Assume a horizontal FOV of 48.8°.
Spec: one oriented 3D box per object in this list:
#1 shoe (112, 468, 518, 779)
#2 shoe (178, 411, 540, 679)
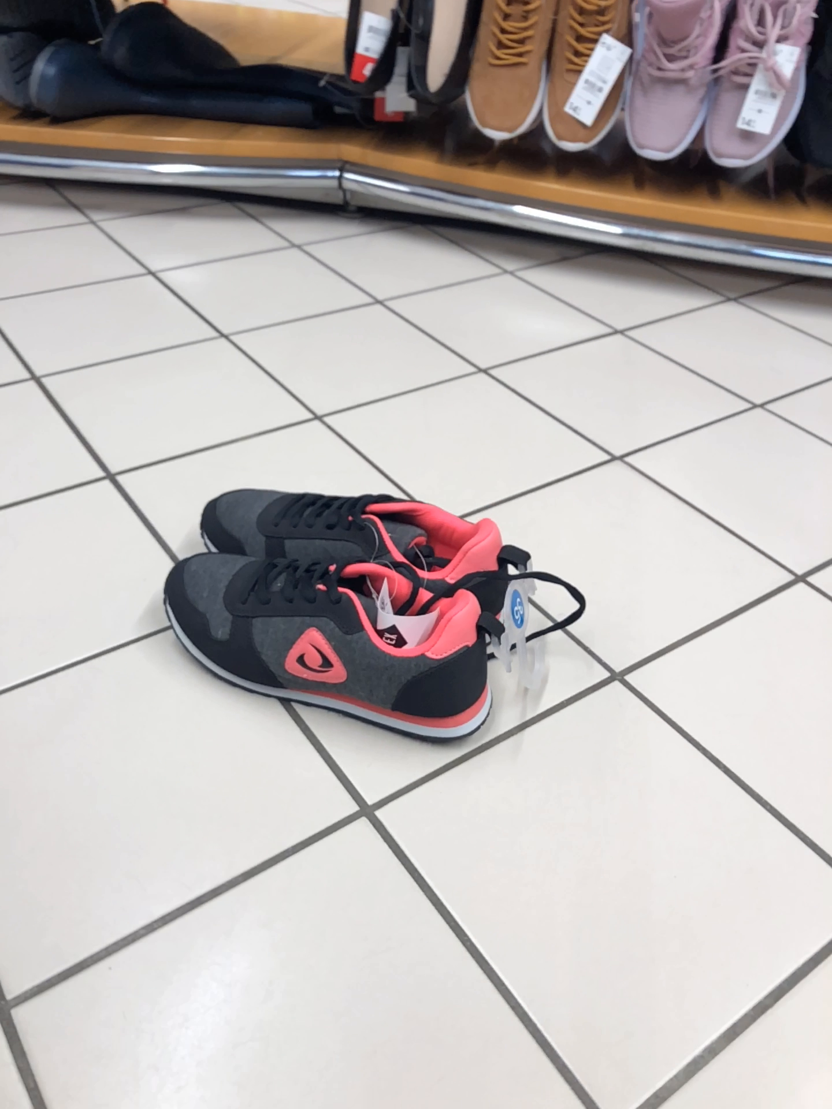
[{"bbox_3d":[-0.061,0.037,0.569,0.220,0.099,0.091,16,39,15],"label":"shoe"},{"bbox_3d":[-0.039,-0.011,0.634,0.220,0.099,0.091,15,39,14],"label":"shoe"}]
